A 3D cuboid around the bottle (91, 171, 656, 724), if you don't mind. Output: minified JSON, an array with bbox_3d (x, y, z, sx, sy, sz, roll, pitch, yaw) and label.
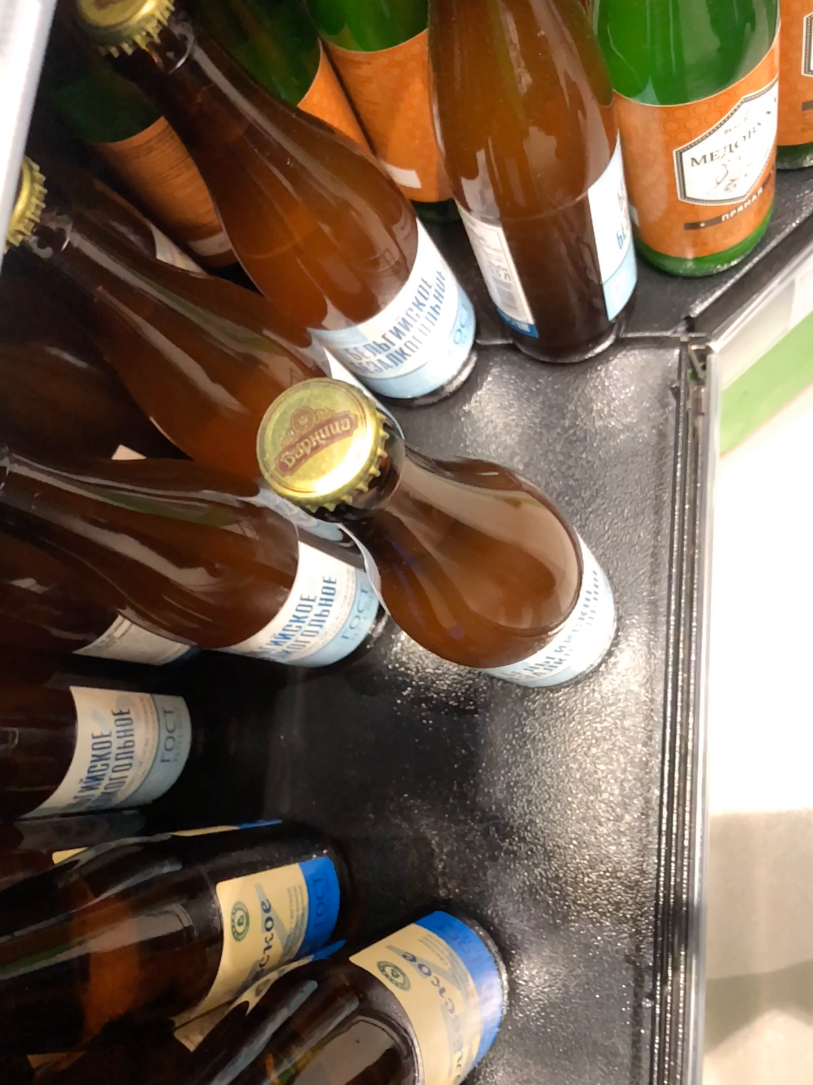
[{"bbox_3d":[0.020,0.000,0.311,0.080,0.255,0.080,-5,75,18],"label":"bottle"}]
